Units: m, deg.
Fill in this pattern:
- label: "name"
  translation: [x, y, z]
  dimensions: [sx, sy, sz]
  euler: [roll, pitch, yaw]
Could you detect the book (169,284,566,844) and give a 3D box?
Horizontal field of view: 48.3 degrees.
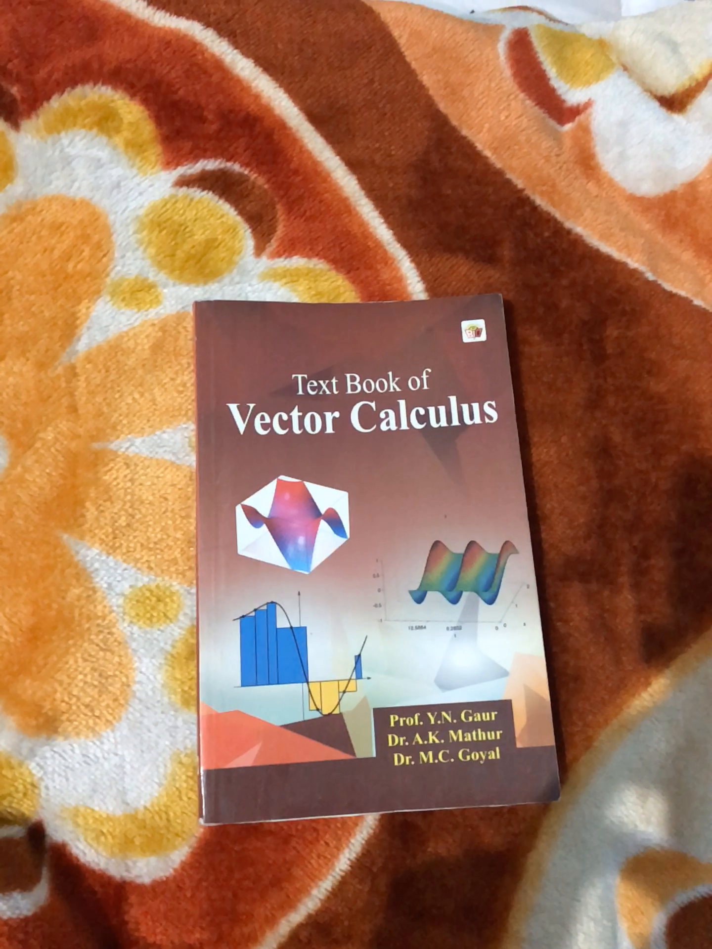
- label: "book"
  translation: [-0.001, 0.026, 0.317]
  dimensions: [0.140, 0.020, 0.210]
  euler: [-3, 76, -5]
